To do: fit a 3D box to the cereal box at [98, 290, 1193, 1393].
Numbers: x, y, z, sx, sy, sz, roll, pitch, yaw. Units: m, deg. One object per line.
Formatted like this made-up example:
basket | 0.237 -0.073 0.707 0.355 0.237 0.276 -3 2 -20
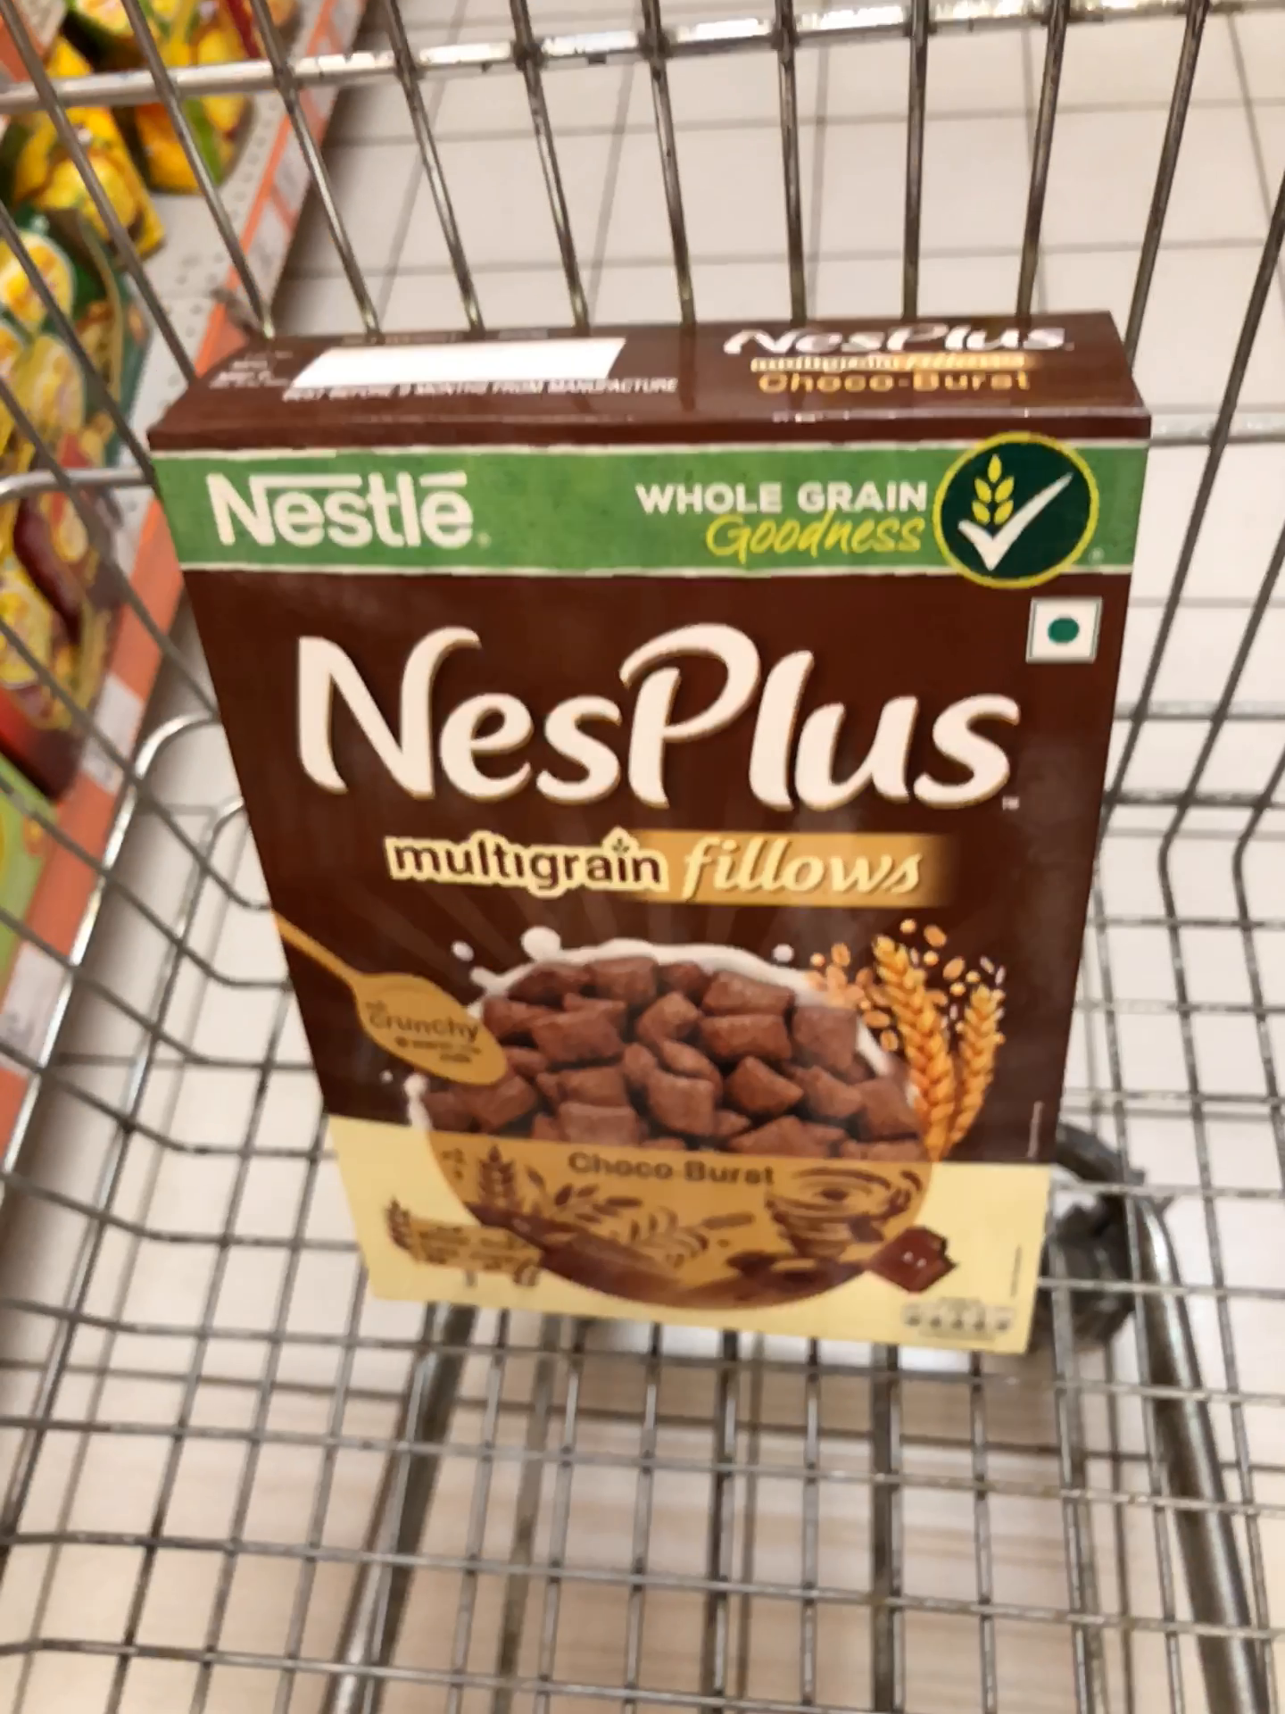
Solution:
cereal box | 0.008 0.011 0.343 0.190 0.259 0.060 2 34 10
